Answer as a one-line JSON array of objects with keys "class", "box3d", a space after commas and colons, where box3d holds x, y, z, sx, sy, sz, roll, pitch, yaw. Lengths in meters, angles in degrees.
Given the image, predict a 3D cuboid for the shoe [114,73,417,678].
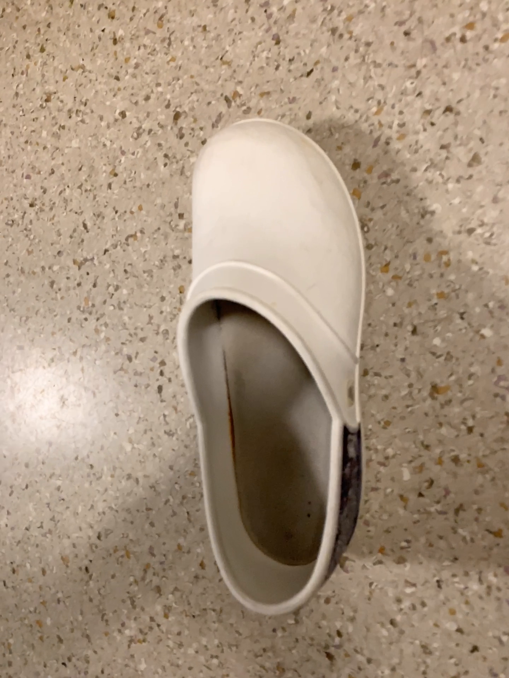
[{"class": "shoe", "box3d": [0.009, 0.017, 0.284, 0.107, 0.101, 0.254, -9, 84, 25]}]
